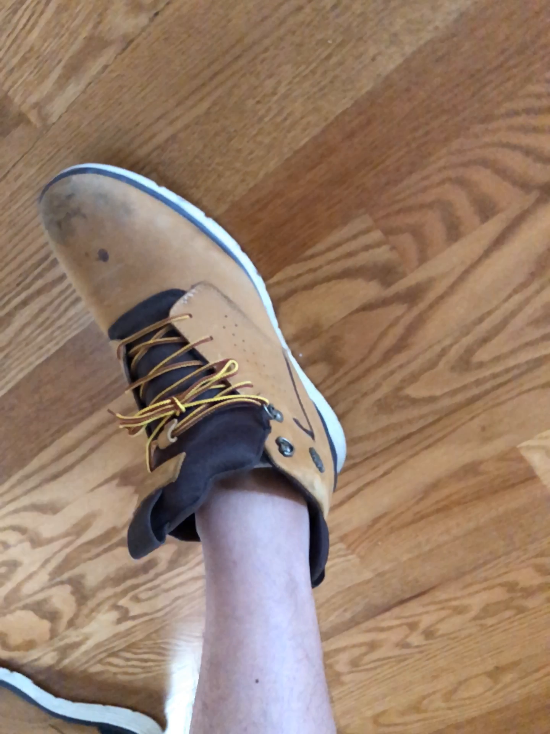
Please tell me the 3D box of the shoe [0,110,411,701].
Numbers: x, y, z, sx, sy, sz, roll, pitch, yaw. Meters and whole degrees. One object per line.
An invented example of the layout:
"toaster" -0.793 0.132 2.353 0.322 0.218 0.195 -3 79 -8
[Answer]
"shoe" -0.049 0.016 0.384 0.120 0.170 0.310 -29 105 20
